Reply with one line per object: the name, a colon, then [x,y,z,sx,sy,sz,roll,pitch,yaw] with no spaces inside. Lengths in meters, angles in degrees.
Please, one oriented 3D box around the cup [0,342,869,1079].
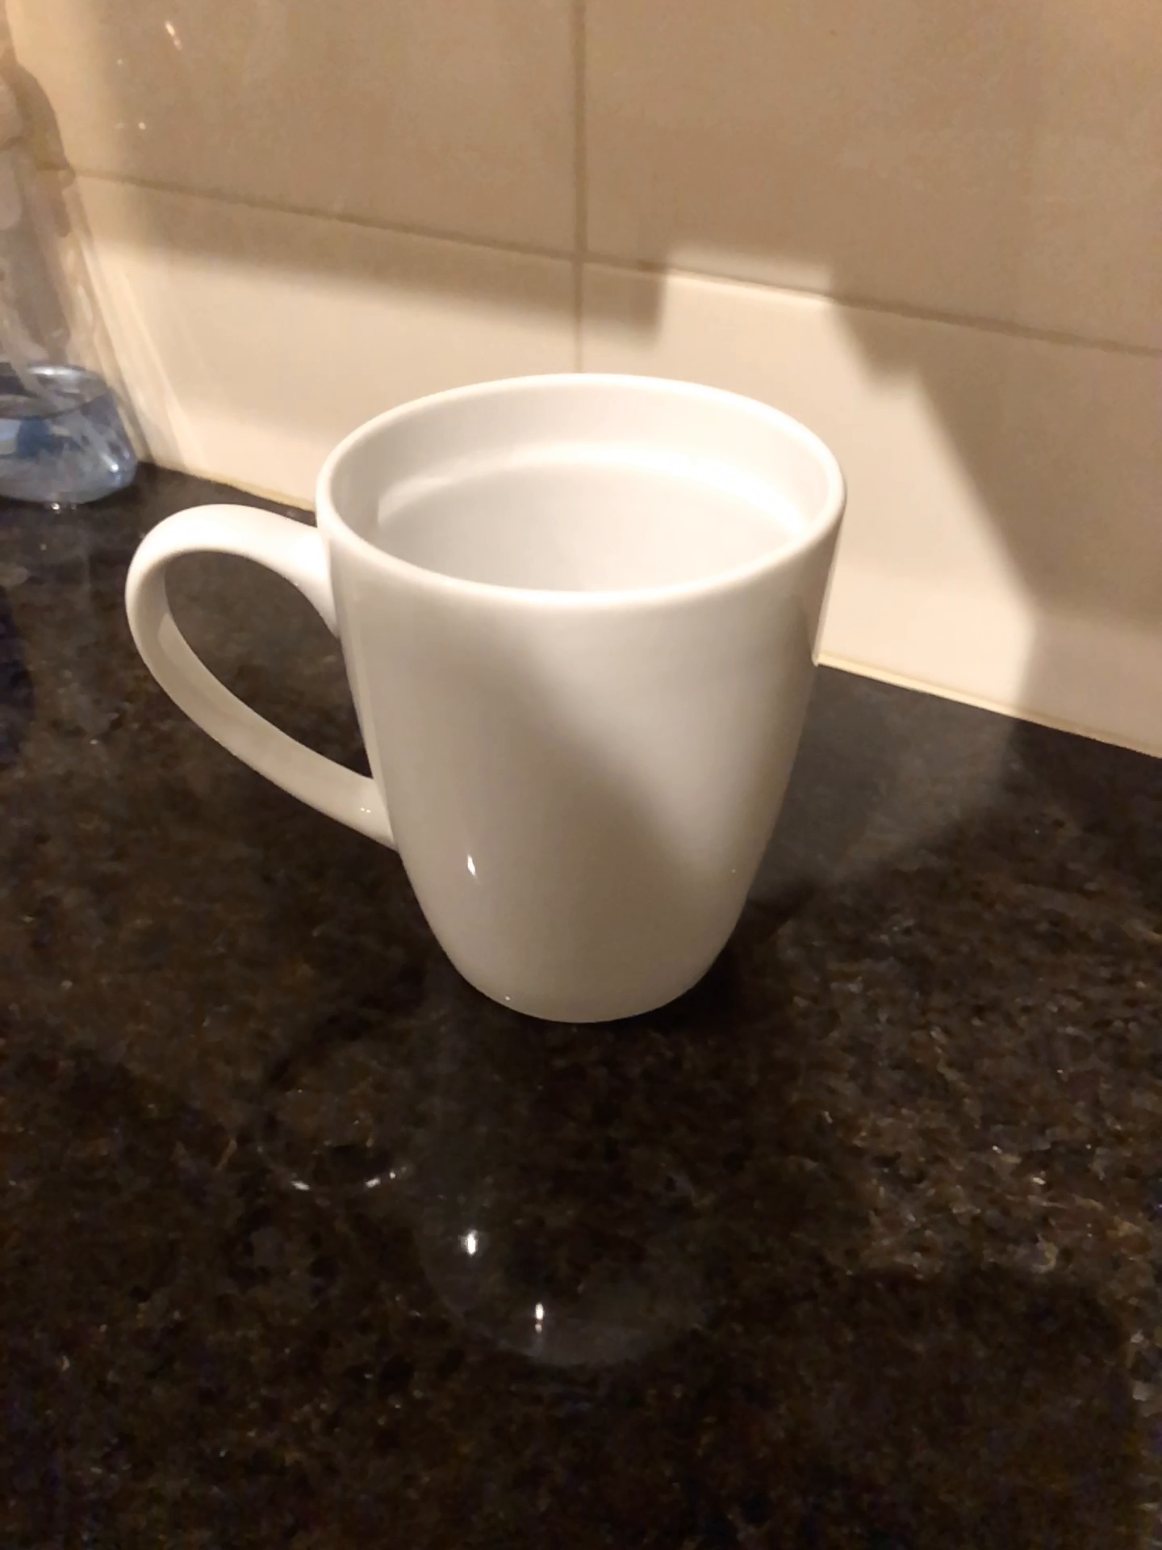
cup: [-0.020,-0.017,0.241,0.130,0.090,0.090,6,37,7]
